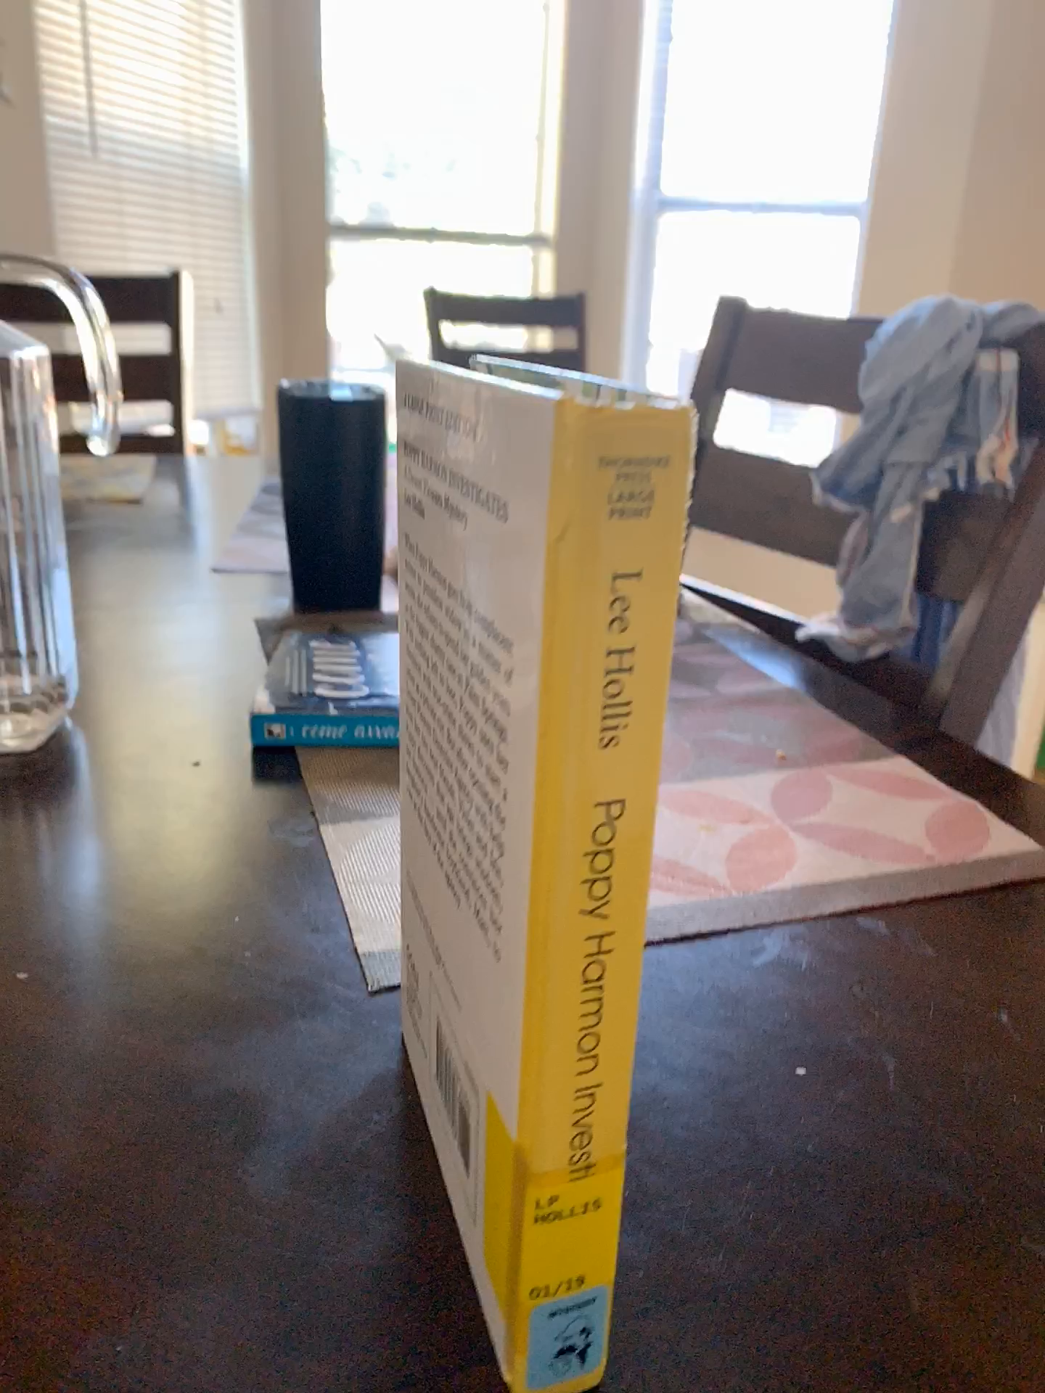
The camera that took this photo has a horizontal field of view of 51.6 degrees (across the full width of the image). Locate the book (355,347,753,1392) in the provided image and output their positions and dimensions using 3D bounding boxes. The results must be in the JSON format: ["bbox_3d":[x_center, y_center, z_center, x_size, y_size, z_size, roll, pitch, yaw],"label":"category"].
[{"bbox_3d":[-0.008,0.030,0.276,0.040,0.220,0.154,-5,21,-17],"label":"book"}]
